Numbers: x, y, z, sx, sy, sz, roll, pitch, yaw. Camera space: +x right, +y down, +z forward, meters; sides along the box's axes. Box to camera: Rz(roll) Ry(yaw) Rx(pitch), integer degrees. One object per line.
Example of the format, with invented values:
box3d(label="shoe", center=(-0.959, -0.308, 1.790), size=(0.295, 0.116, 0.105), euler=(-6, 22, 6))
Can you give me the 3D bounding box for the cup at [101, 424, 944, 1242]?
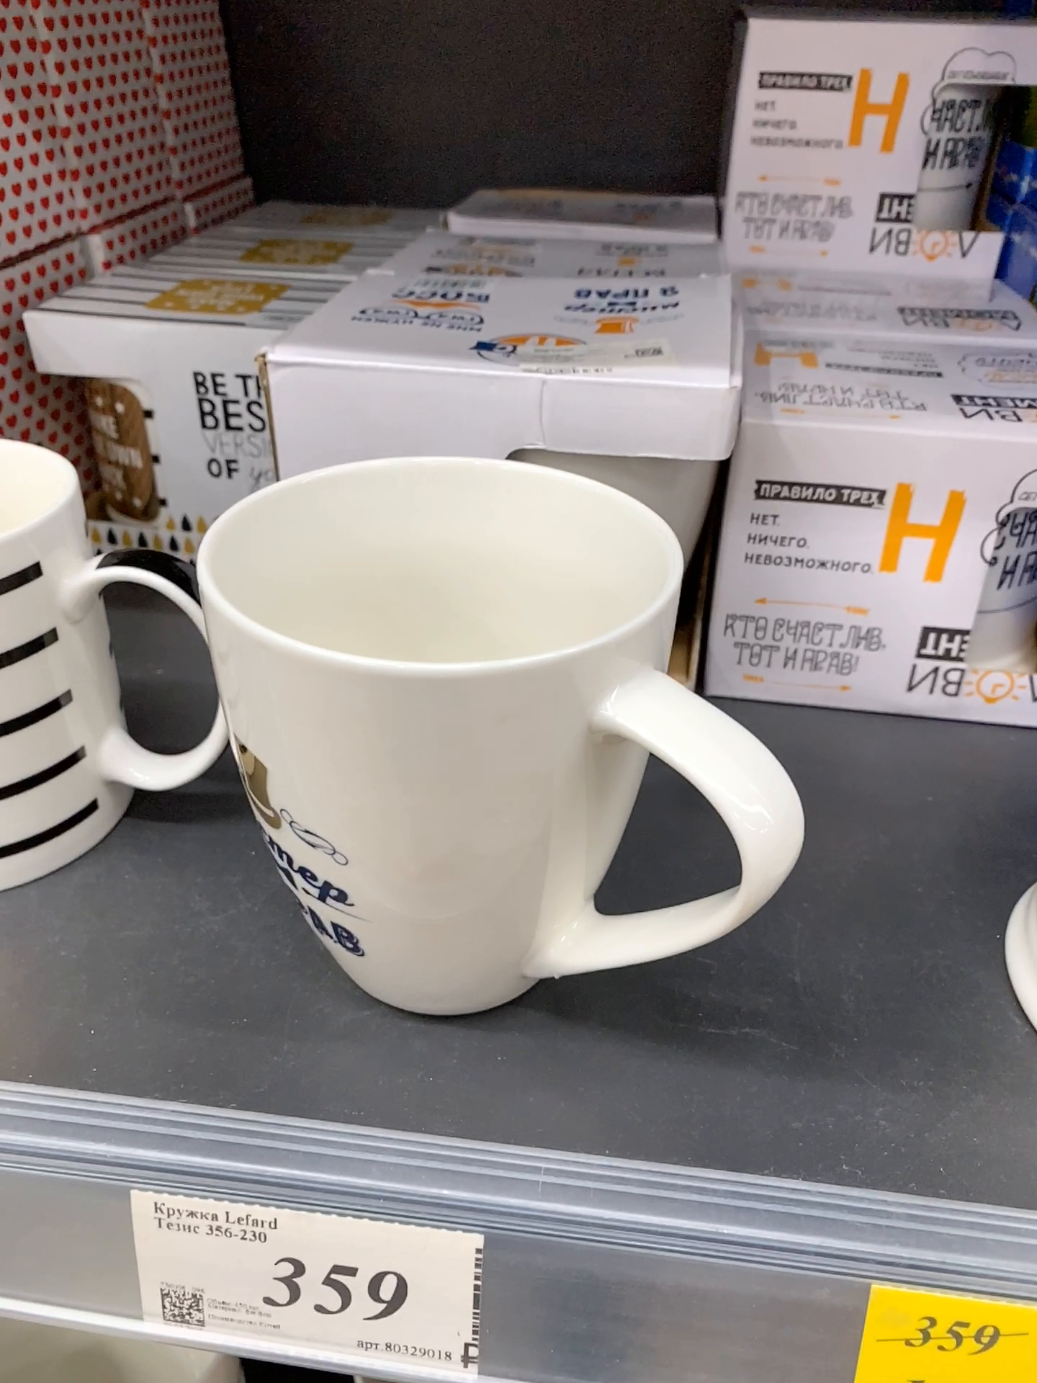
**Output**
box3d(label="cup", center=(-0.002, 0.015, 0.230), size=(0.132, 0.093, 0.093), euler=(25, 40, 33))
